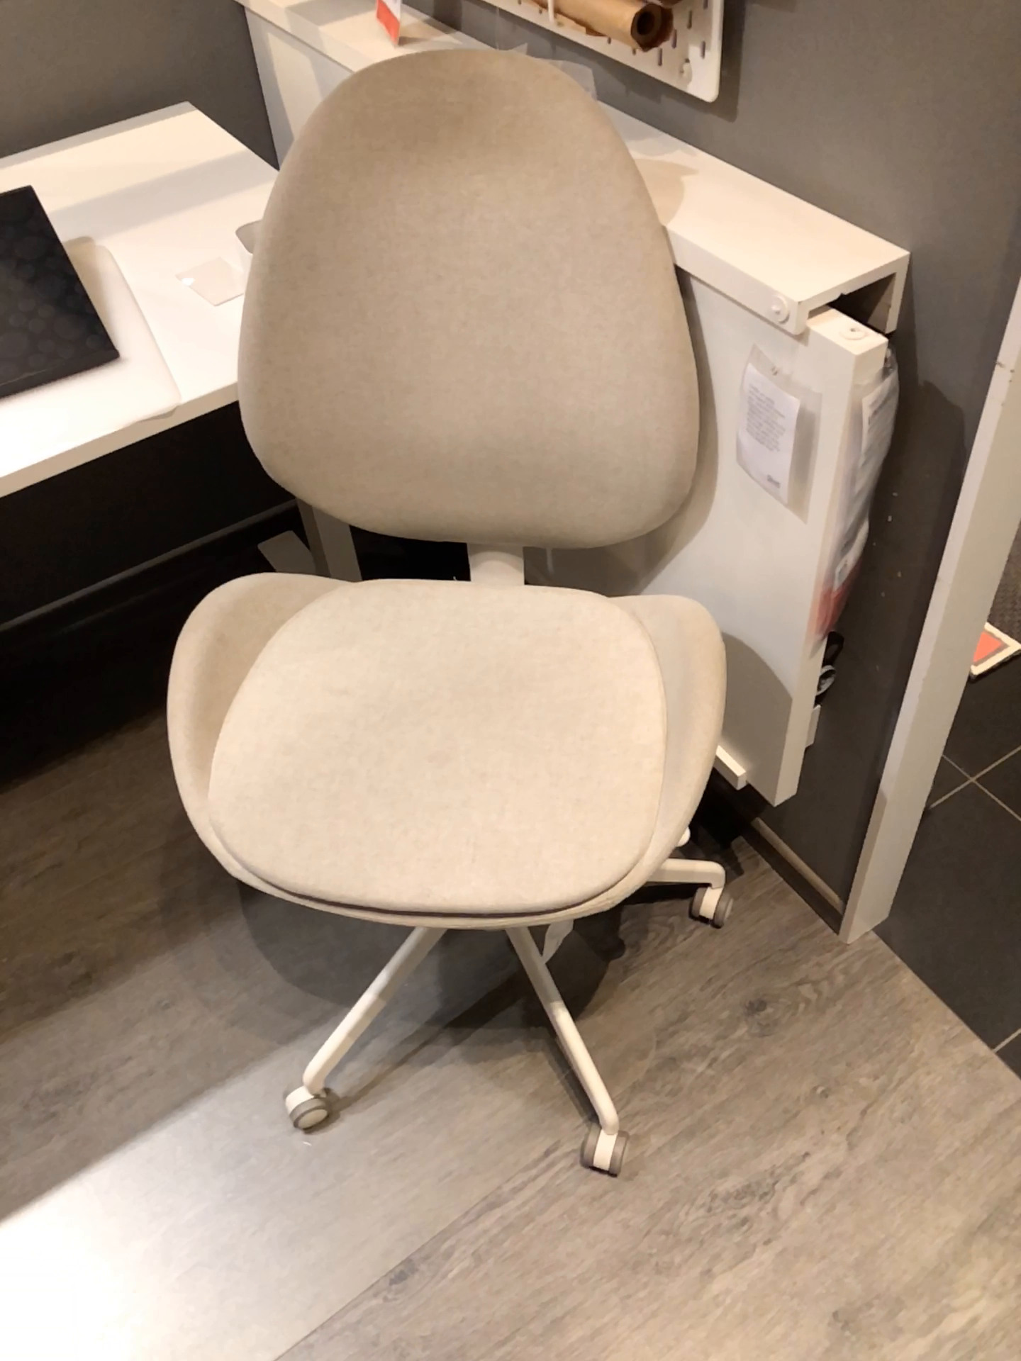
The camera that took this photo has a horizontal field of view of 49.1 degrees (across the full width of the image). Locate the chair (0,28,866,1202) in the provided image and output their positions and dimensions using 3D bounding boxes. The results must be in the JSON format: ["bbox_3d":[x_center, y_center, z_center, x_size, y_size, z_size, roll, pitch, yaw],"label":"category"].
[{"bbox_3d":[-0.072,-0.023,1.168,0.680,0.964,0.684,4,48,10],"label":"chair"}]
